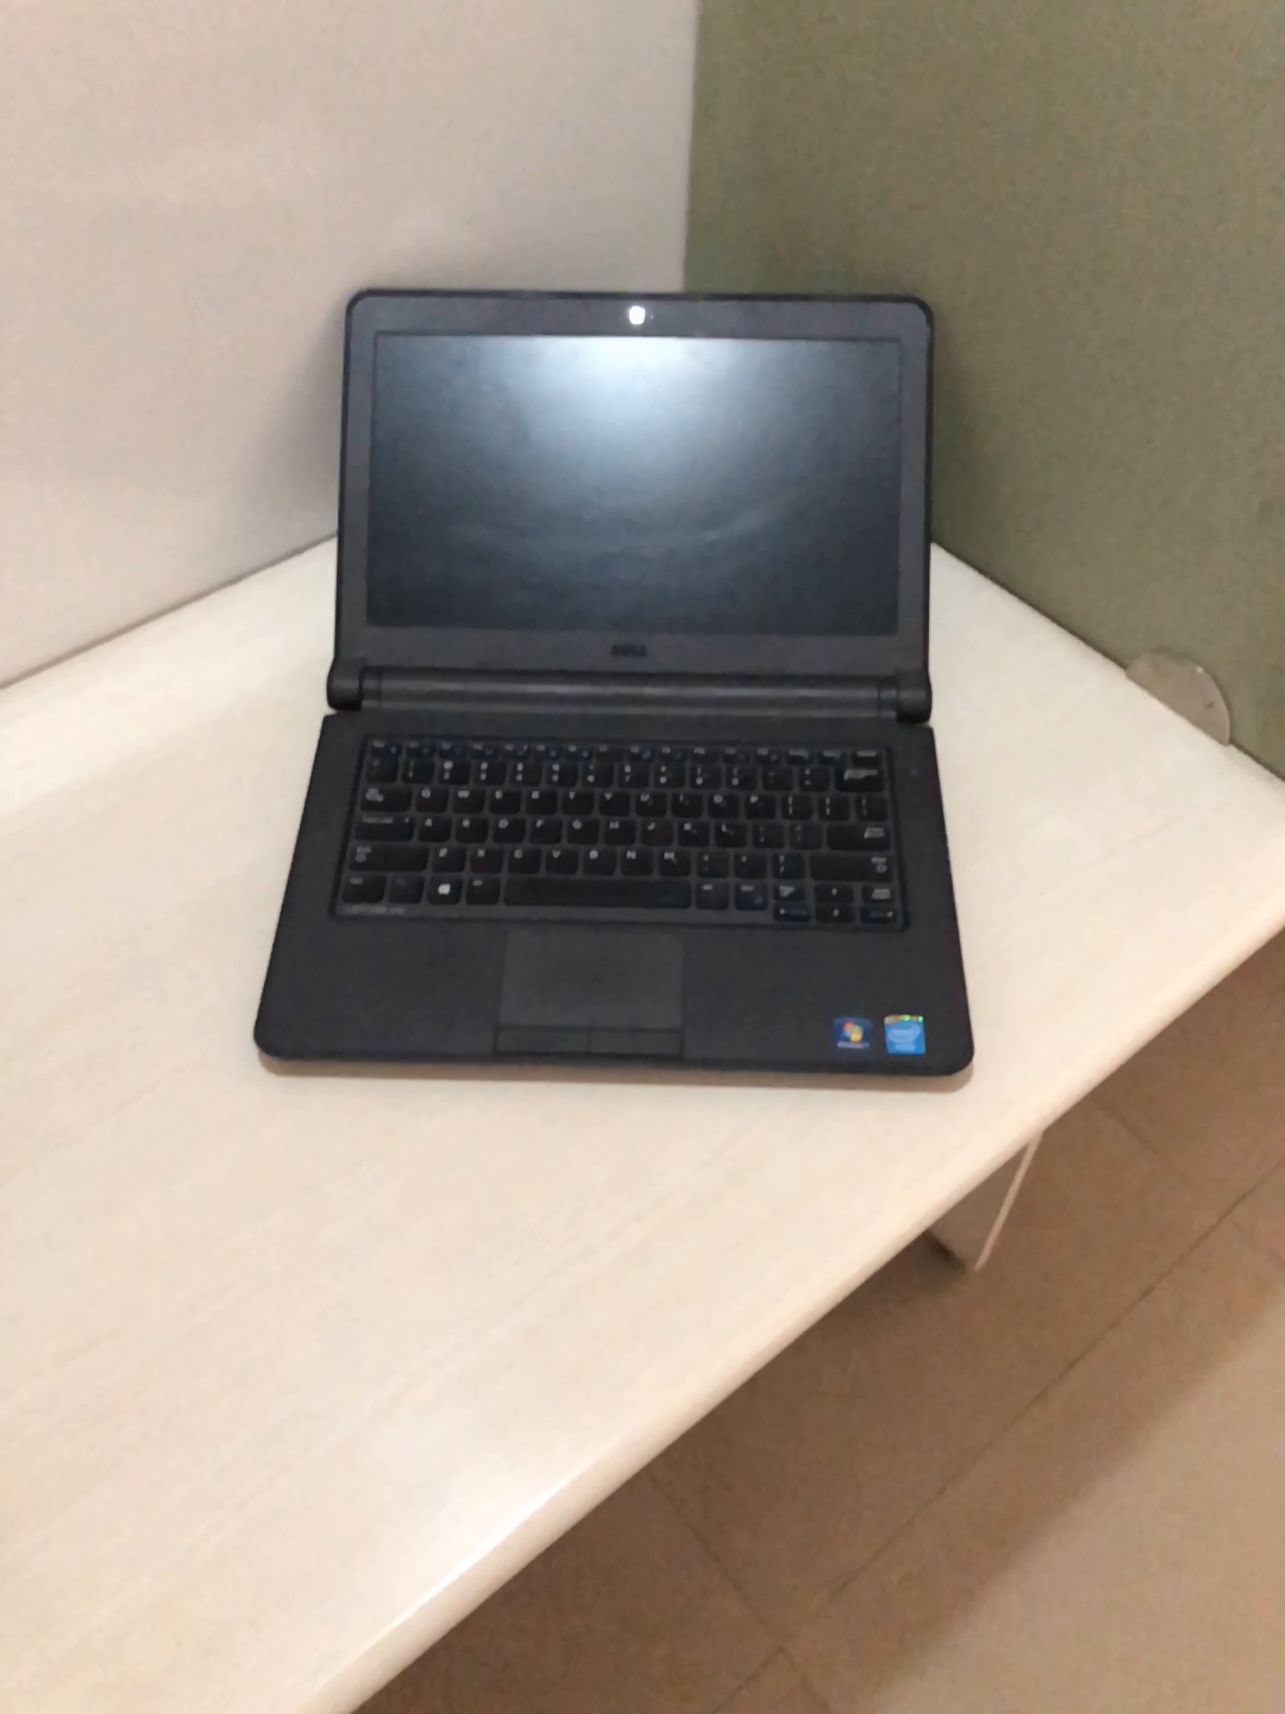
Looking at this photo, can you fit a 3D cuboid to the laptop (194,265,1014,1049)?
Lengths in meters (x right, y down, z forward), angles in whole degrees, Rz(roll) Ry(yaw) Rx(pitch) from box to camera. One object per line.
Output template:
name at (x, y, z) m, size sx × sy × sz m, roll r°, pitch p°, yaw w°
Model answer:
laptop at (-0.009, -0.118, 0.699) m, size 0.309 × 0.128 × 0.397 m, roll 1°, pitch 53°, yaw 2°
